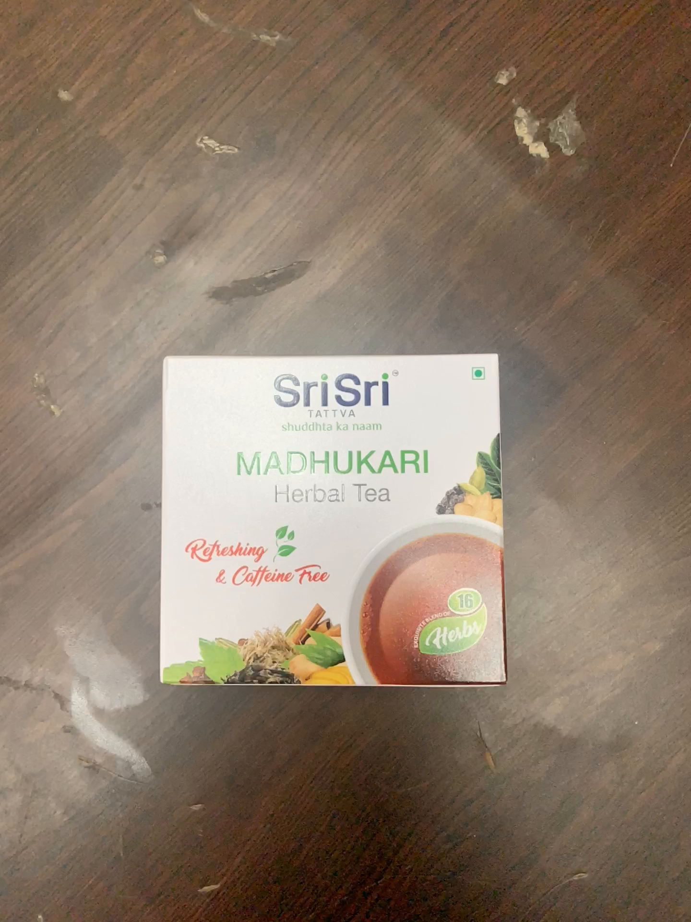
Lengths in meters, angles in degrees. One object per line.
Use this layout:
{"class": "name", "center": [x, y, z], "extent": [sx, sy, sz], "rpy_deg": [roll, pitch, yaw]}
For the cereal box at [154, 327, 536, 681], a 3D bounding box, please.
{"class": "cereal box", "center": [0.000, 0.015, 0.265], "extent": [0.130, 0.040, 0.120], "rpy_deg": [0, 88, 2]}
